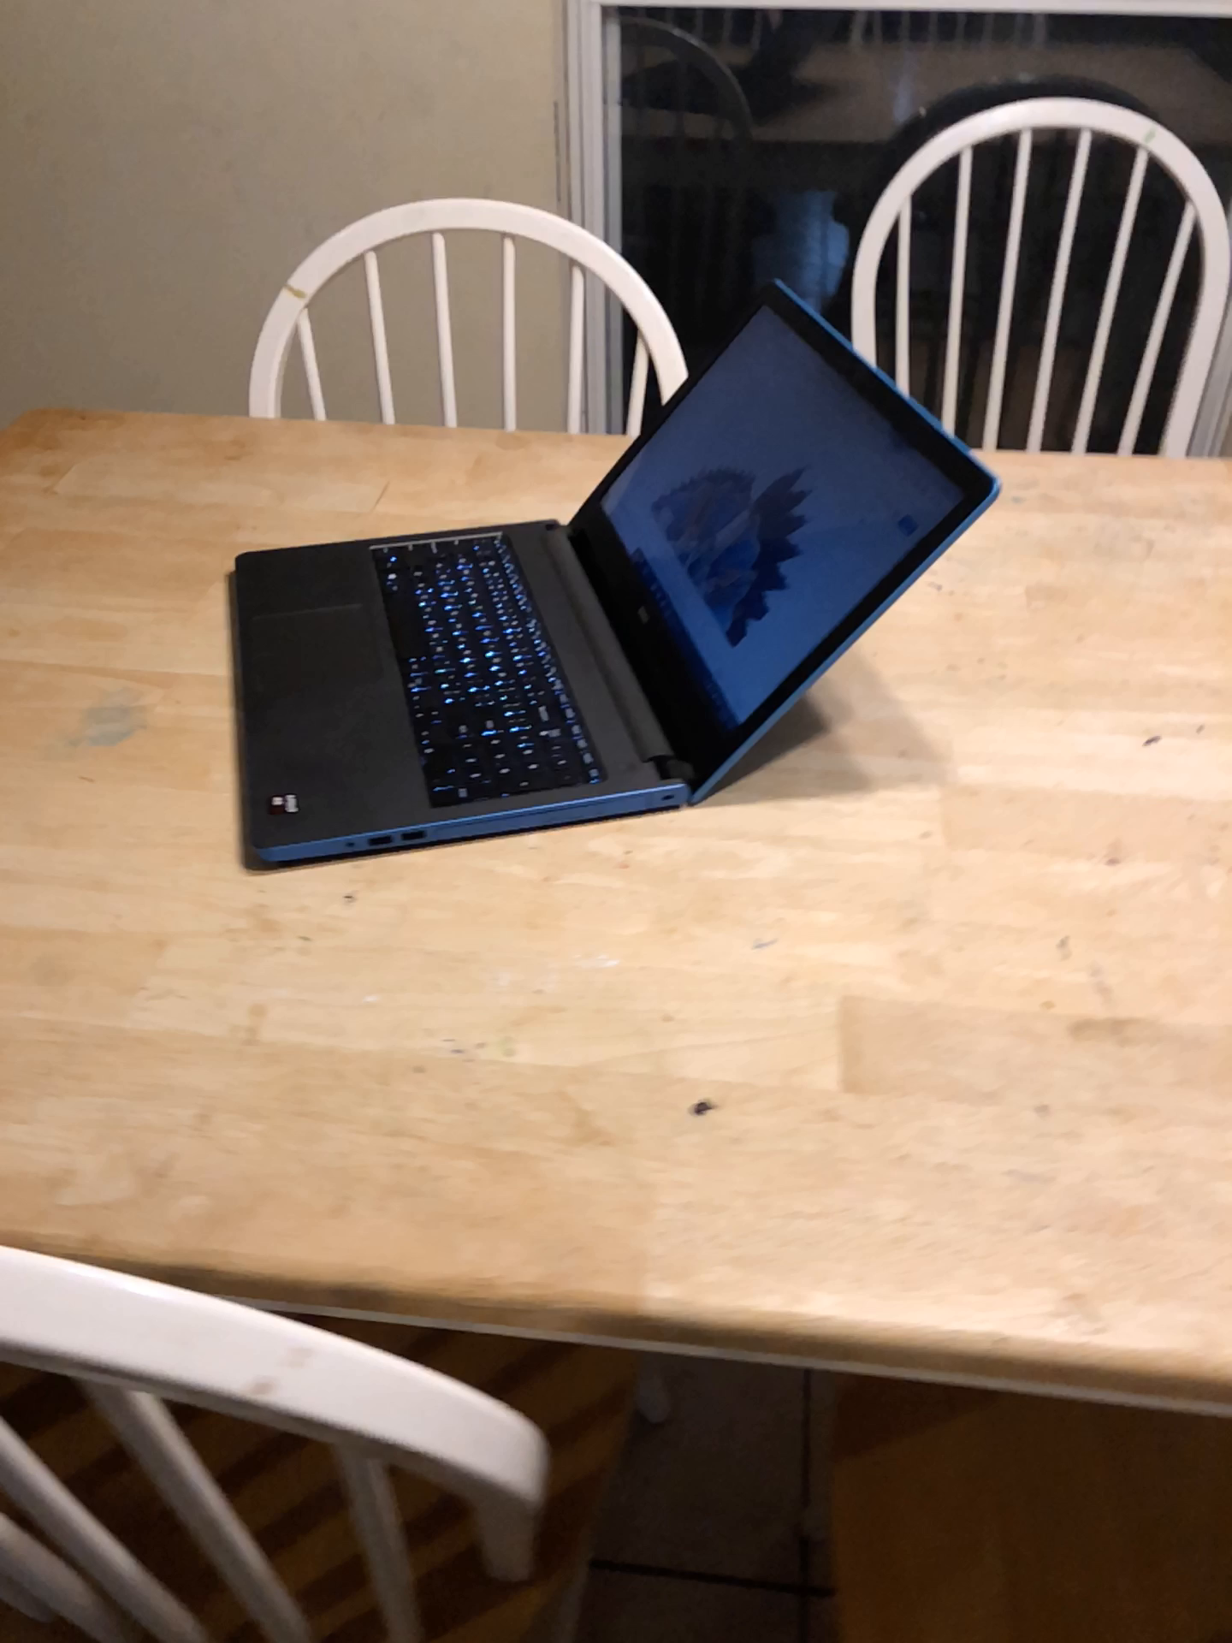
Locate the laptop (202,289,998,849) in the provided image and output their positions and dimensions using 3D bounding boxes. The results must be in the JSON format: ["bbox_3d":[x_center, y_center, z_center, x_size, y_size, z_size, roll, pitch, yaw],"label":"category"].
[{"bbox_3d":[-0.039,-0.193,0.884,0.418,0.174,0.369,-8,38,-11],"label":"laptop"}]
